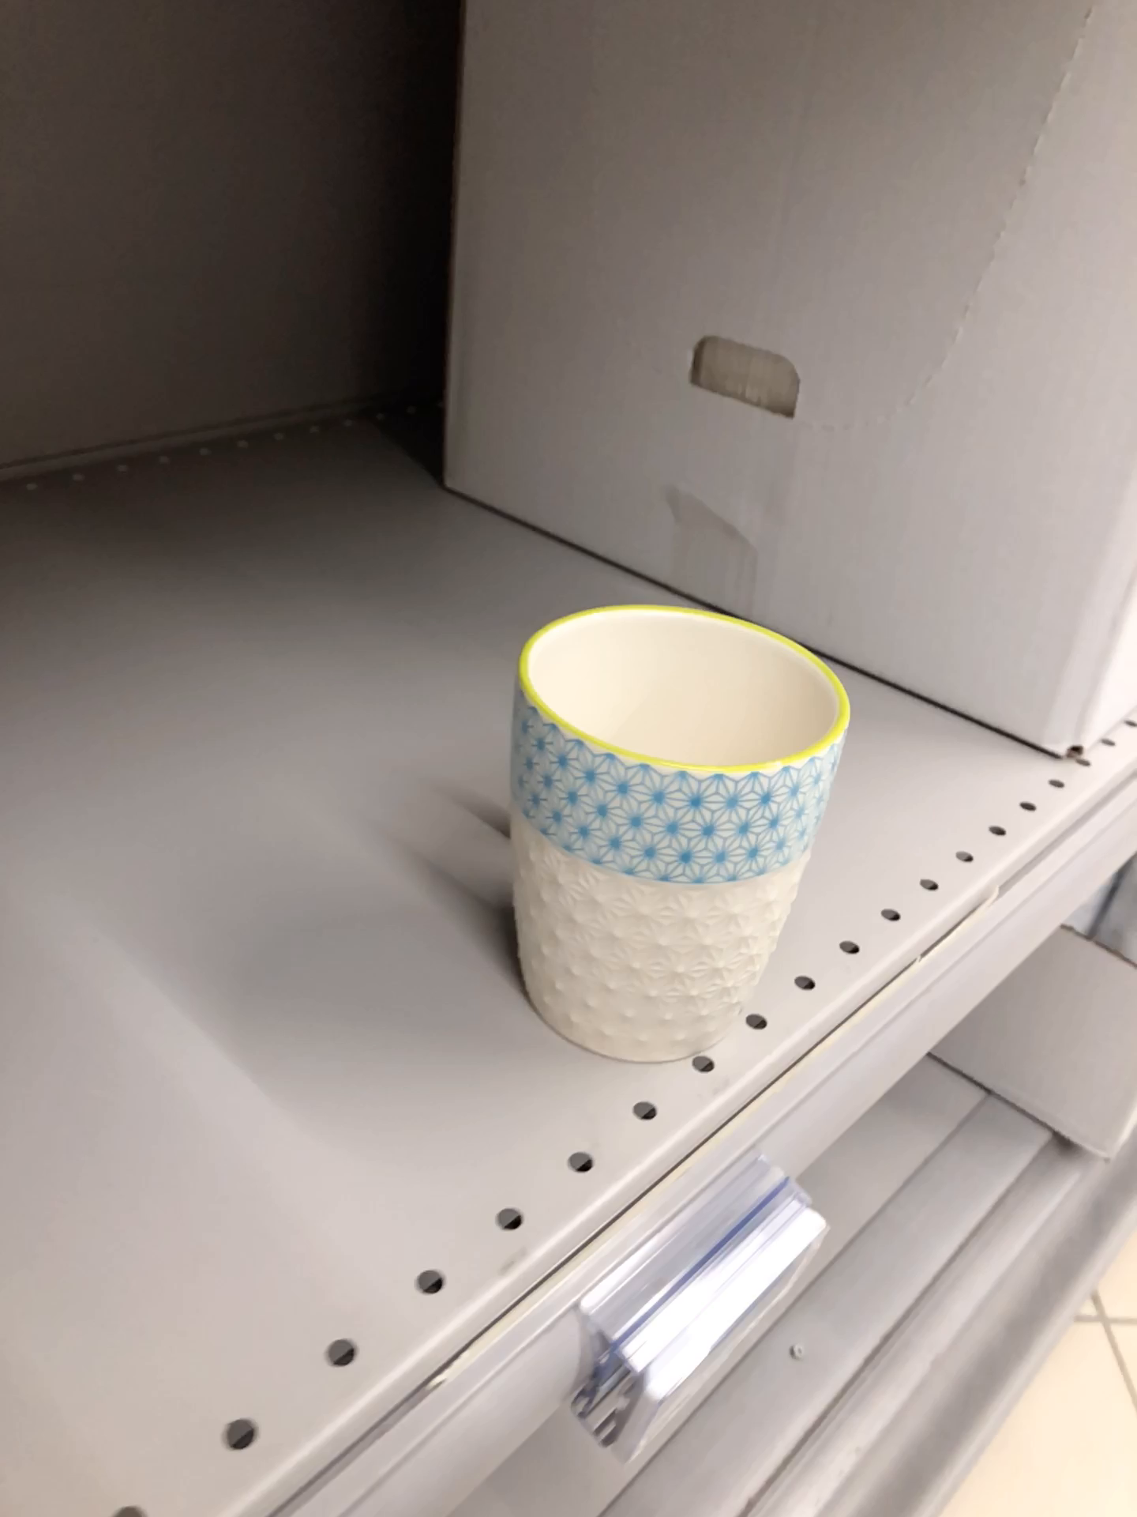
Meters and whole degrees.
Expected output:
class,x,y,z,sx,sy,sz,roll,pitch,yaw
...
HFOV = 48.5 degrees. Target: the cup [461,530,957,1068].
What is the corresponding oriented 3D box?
class,x,y,z,sx,sy,sz,roll,pitch,yaw
cup,0.026,0.007,0.345,0.098,0.091,0.119,2,33,-9
